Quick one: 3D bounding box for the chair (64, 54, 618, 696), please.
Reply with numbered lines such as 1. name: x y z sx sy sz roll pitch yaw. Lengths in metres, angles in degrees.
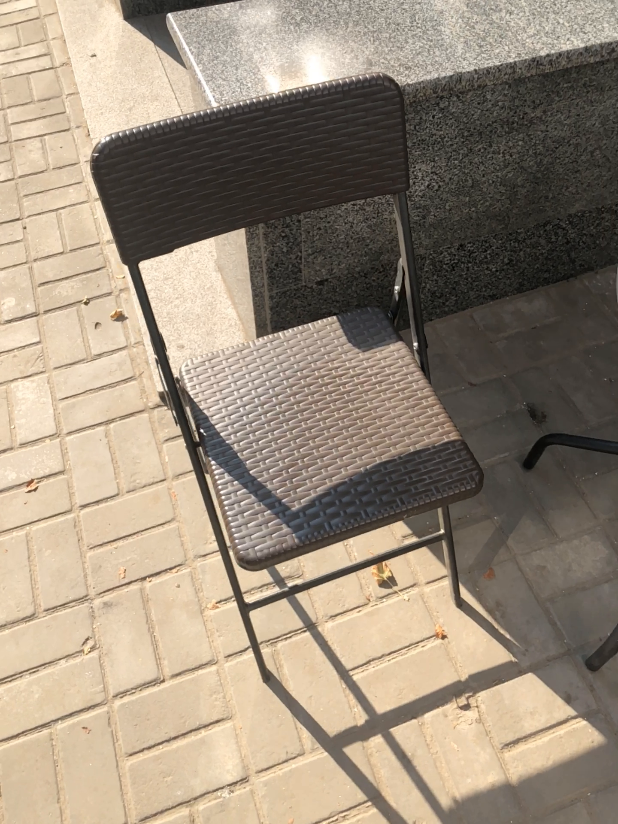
1. chair: 0.010 -0.001 1.025 0.450 0.748 0.511 -18 56 -12
